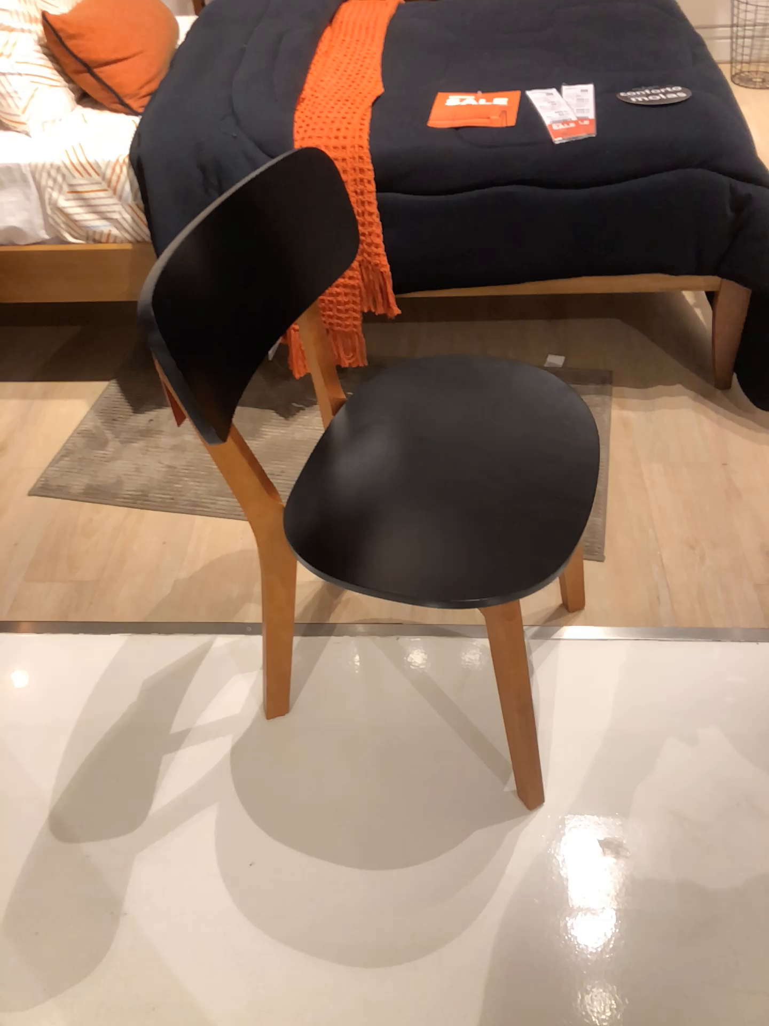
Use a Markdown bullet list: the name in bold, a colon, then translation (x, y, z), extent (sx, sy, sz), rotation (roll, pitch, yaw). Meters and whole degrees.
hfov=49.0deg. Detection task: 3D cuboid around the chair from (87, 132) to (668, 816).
- **chair**: translation (0.050, -0.038, 1.105), extent (0.480, 0.705, 0.463), rotation (9, 46, 14)
